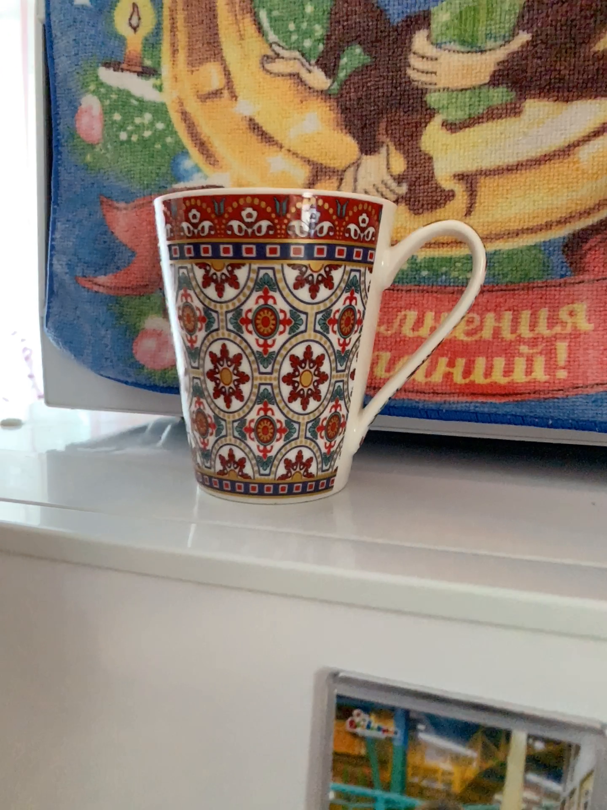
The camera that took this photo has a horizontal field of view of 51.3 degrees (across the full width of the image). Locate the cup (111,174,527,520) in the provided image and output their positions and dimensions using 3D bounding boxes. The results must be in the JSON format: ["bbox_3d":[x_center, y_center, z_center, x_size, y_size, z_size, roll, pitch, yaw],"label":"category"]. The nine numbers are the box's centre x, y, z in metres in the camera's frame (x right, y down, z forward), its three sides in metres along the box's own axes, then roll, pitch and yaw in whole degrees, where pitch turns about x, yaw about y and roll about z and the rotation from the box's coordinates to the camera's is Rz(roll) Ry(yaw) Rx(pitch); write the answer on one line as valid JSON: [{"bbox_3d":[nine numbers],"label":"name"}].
[{"bbox_3d":[0.007,-0.024,0.238,0.124,0.101,0.090,2,8,8],"label":"cup"}]
